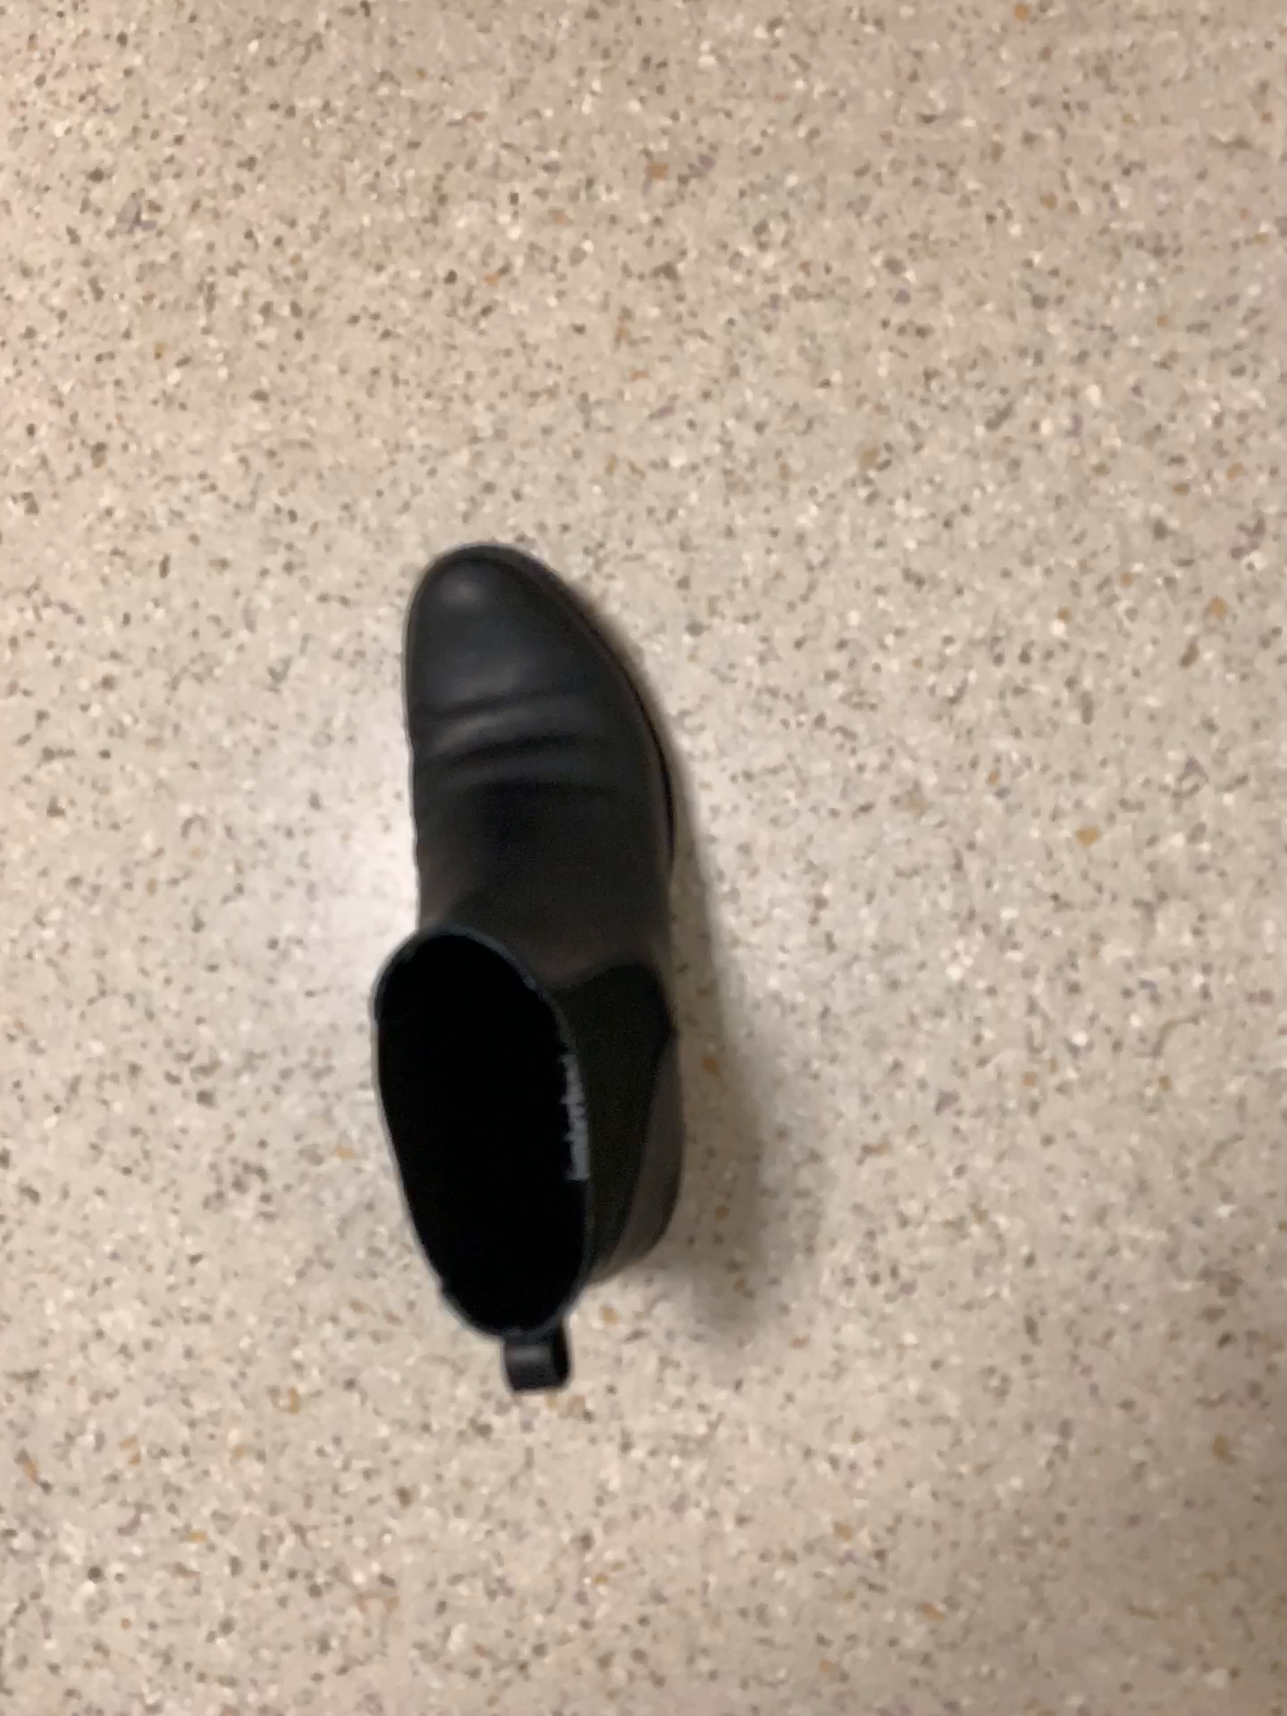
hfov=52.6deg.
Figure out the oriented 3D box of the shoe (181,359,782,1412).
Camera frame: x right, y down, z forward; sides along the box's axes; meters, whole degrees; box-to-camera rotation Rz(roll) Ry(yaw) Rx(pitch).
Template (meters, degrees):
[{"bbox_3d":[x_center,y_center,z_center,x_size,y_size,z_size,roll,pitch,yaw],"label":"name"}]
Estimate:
[{"bbox_3d":[-0.043,0.010,0.425,0.107,0.147,0.270,-13,82,9],"label":"shoe"}]
